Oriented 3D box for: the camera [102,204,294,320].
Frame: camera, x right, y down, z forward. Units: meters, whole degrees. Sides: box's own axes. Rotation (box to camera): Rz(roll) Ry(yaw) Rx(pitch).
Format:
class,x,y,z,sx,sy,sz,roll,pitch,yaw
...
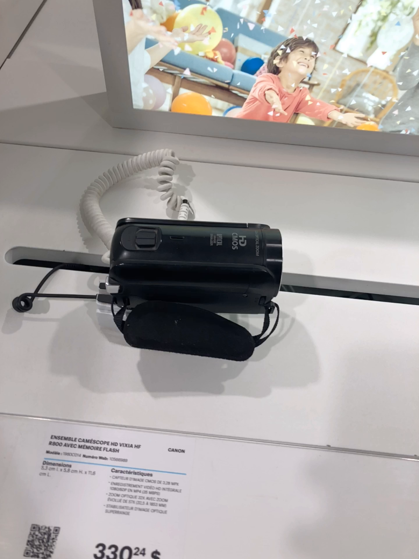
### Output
class,x,y,z,sx,sy,sz,roll,pitch,yaw
camera,-0.007,-0.011,0.307,0.113,0.050,0.050,3,54,-1
